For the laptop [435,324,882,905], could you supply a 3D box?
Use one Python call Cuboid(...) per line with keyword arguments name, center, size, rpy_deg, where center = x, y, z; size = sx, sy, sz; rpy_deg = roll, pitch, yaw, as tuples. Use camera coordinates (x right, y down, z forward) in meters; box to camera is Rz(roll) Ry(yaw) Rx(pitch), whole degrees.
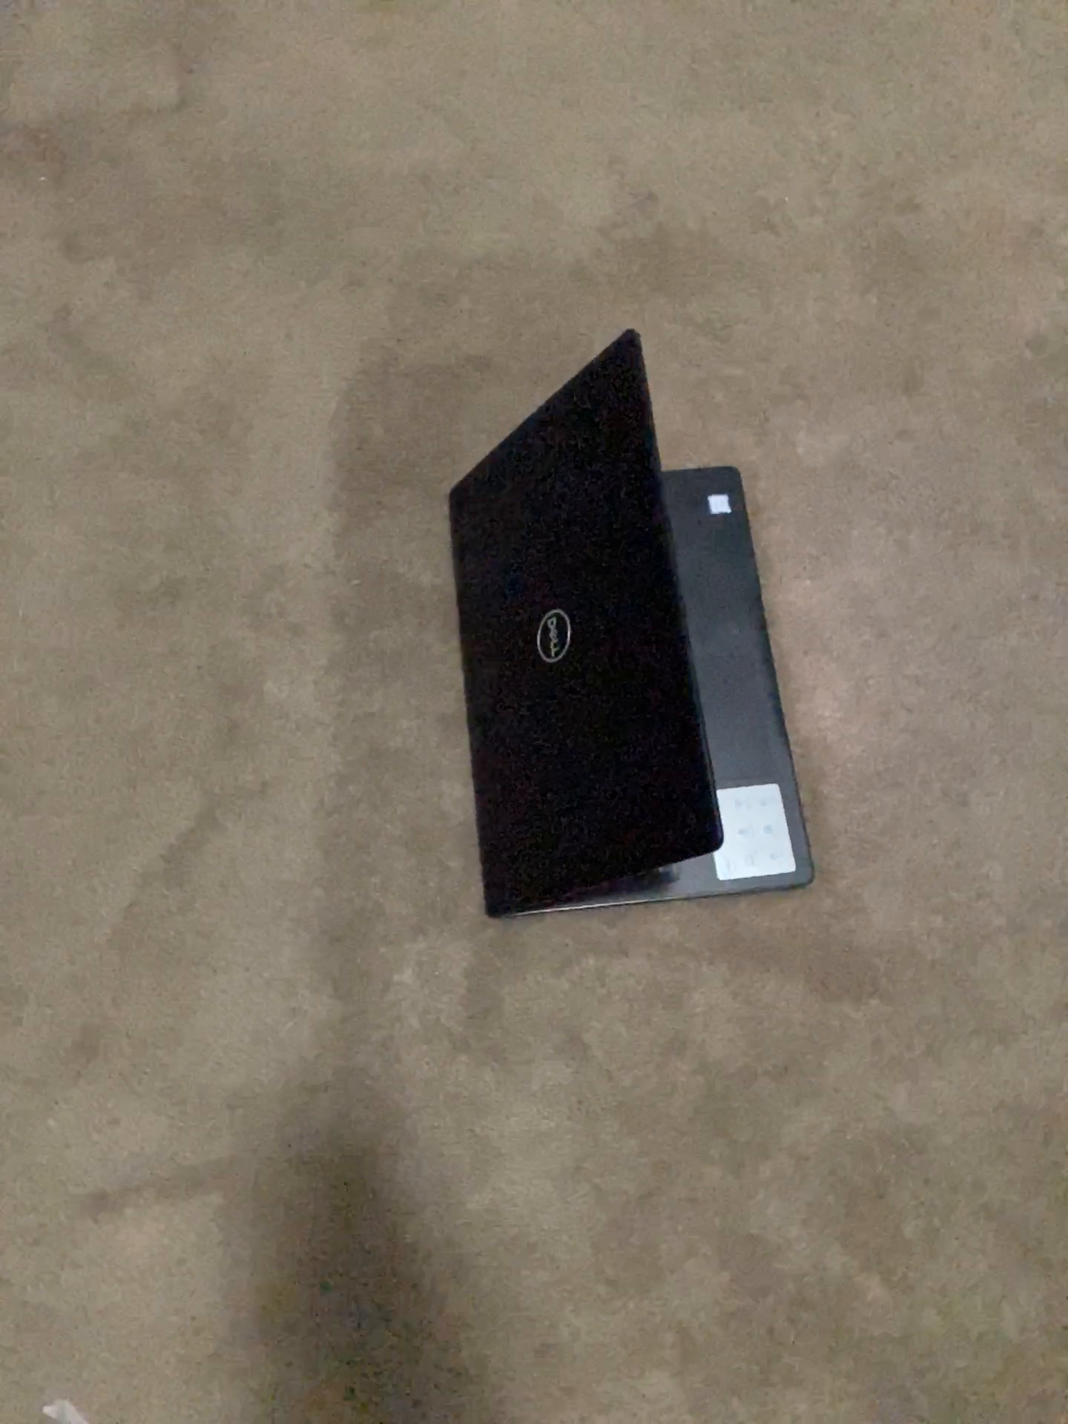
Cuboid(name="laptop", center=(0.072, -0.067, 0.822), size=(0.251, 0.202, 0.377), rpy_deg=(-5, 71, -4))
